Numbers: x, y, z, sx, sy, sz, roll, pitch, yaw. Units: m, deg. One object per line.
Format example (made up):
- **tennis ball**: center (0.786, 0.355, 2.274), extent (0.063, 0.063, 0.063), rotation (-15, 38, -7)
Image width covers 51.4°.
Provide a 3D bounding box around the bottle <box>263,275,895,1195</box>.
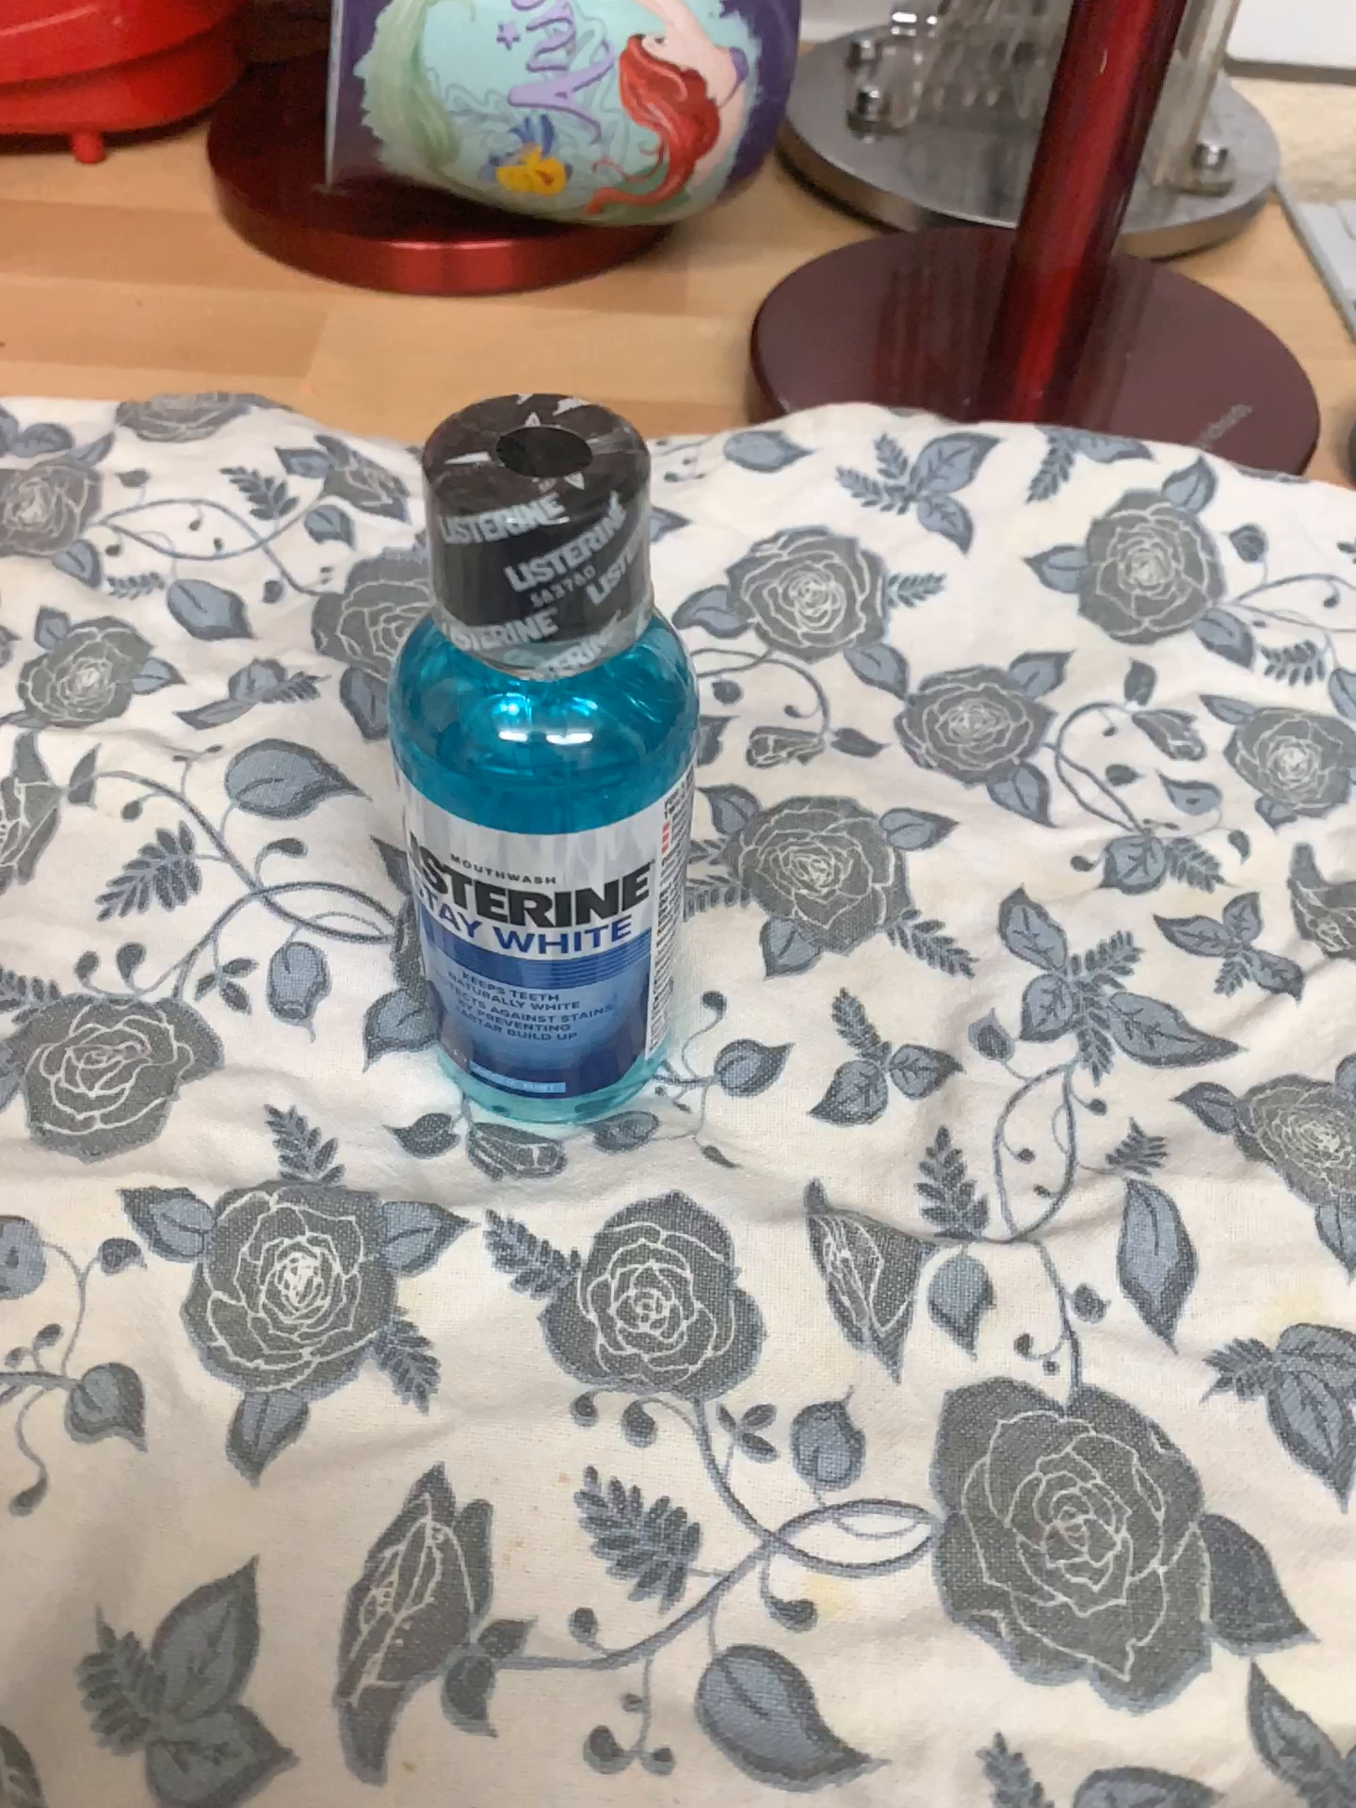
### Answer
- **bottle**: center (-0.012, -0.017, 0.195), extent (0.050, 0.109, 0.050), rotation (2, 50, -3)
